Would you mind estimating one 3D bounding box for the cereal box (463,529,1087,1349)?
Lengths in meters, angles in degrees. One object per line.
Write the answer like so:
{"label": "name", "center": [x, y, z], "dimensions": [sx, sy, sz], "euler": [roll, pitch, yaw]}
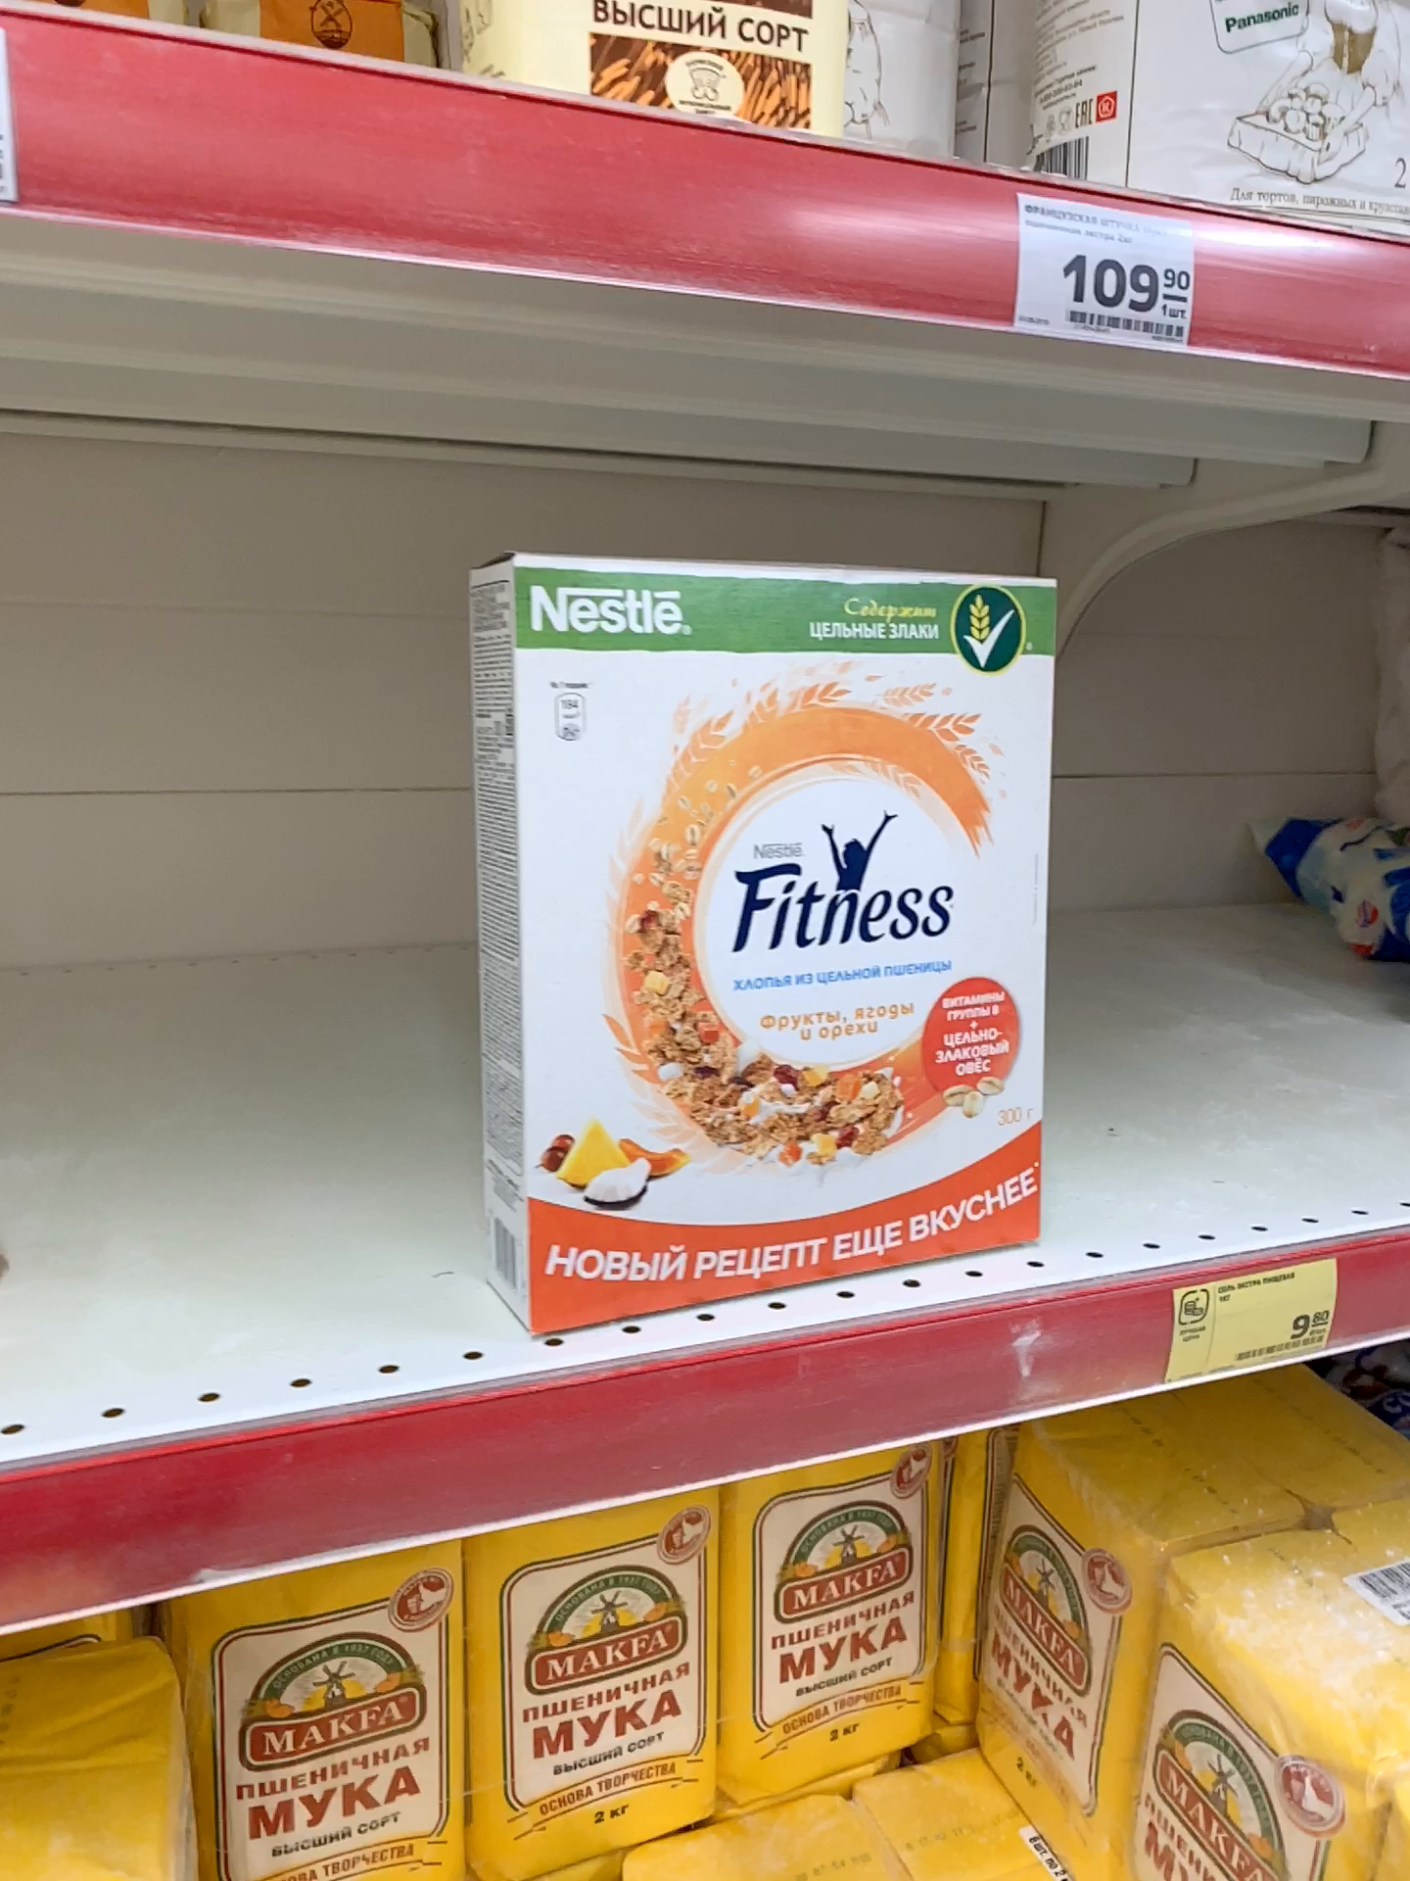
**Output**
{"label": "cereal box", "center": [0.027, -0.006, 0.490], "dimensions": [0.200, 0.239, 0.060], "euler": [-3, 7, -25]}
